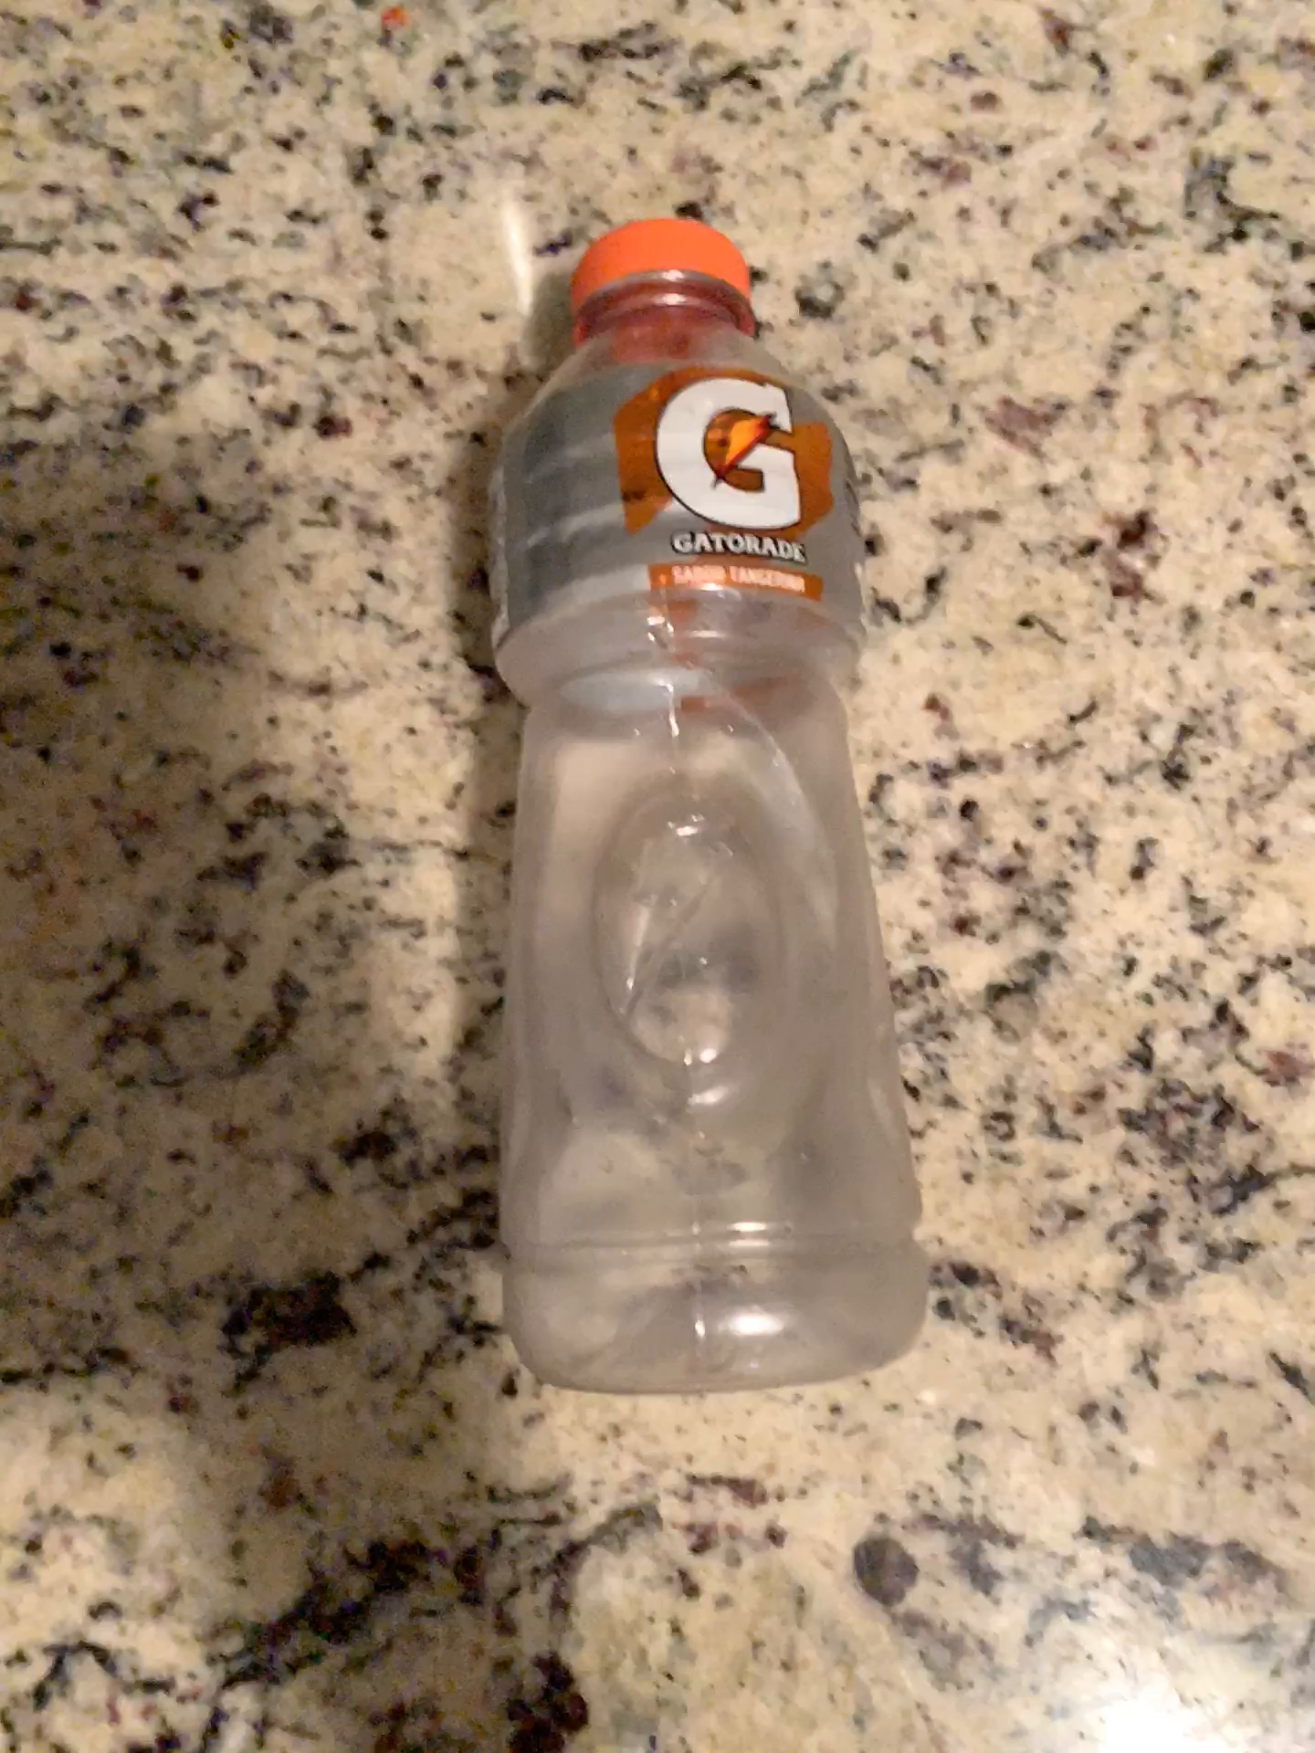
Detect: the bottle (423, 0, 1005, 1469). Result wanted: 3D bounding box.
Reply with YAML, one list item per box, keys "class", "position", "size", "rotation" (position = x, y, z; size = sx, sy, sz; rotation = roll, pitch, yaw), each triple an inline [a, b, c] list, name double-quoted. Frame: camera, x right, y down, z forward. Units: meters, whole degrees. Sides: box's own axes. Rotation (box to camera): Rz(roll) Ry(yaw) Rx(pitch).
- class: "bottle"
  position: [0.004, -0.028, 0.227]
  size: [0.070, 0.070, 0.220]
  rotation: [-3, 77, 2]
